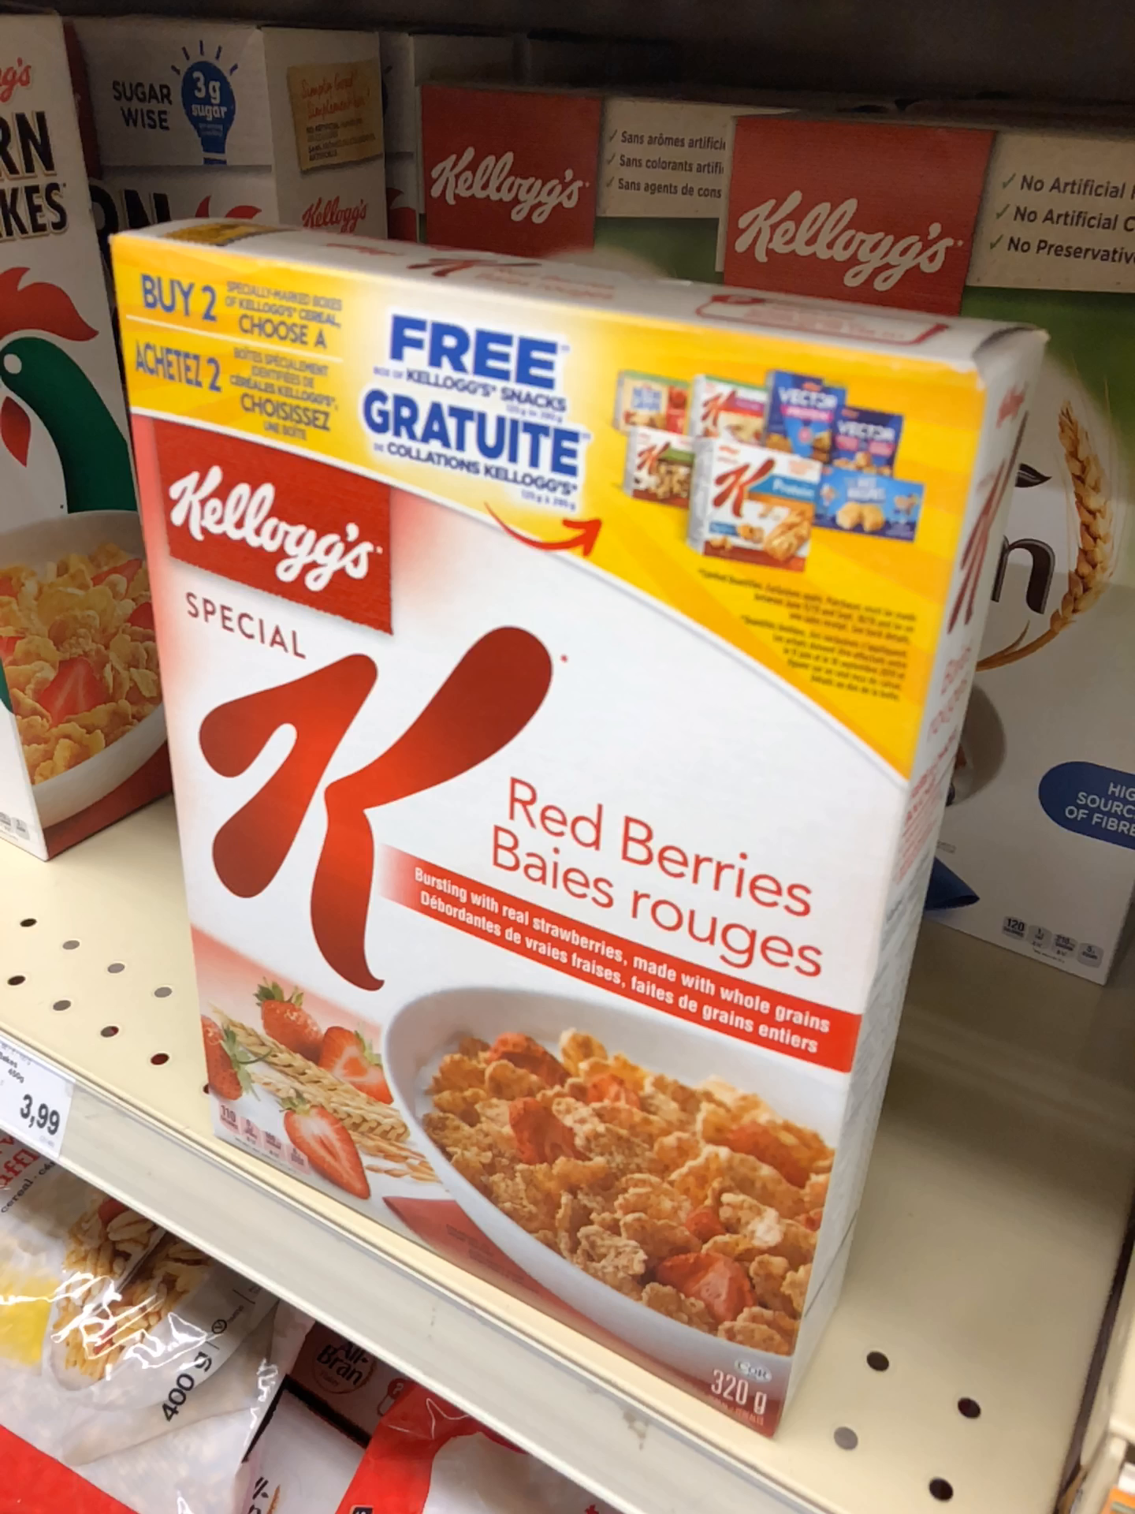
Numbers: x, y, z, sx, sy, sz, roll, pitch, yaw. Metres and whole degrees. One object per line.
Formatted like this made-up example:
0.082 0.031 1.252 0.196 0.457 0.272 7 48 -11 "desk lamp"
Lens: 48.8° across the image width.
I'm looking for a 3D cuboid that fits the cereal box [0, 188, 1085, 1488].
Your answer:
-0.017 0.019 0.279 0.190 0.248 0.050 18 34 26 "cereal box"
